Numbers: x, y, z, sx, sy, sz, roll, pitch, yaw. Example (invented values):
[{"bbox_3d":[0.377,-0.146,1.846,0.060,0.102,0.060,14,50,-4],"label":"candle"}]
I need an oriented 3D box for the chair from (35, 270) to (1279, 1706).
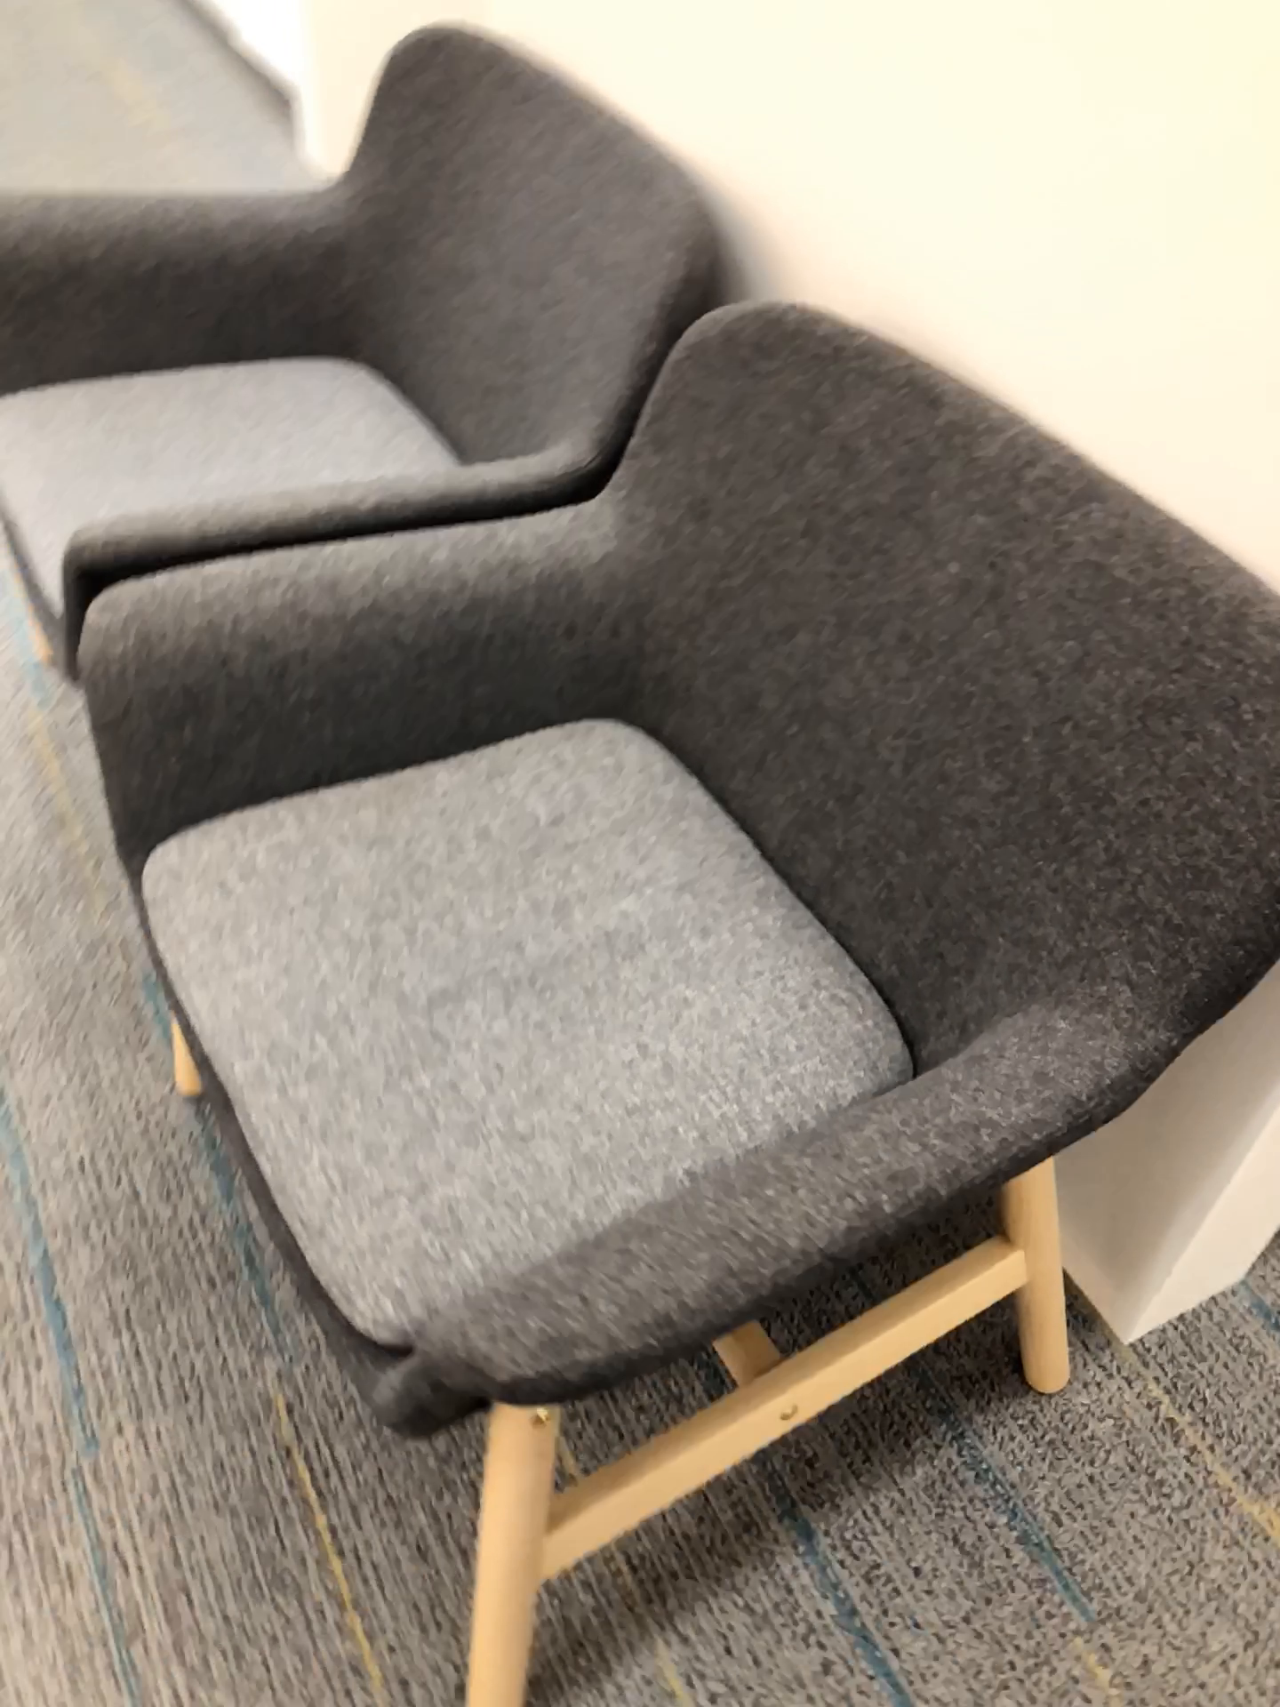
[{"bbox_3d":[0.049,0.129,1.162,0.731,0.835,0.744,-18,49,-20],"label":"chair"}]
